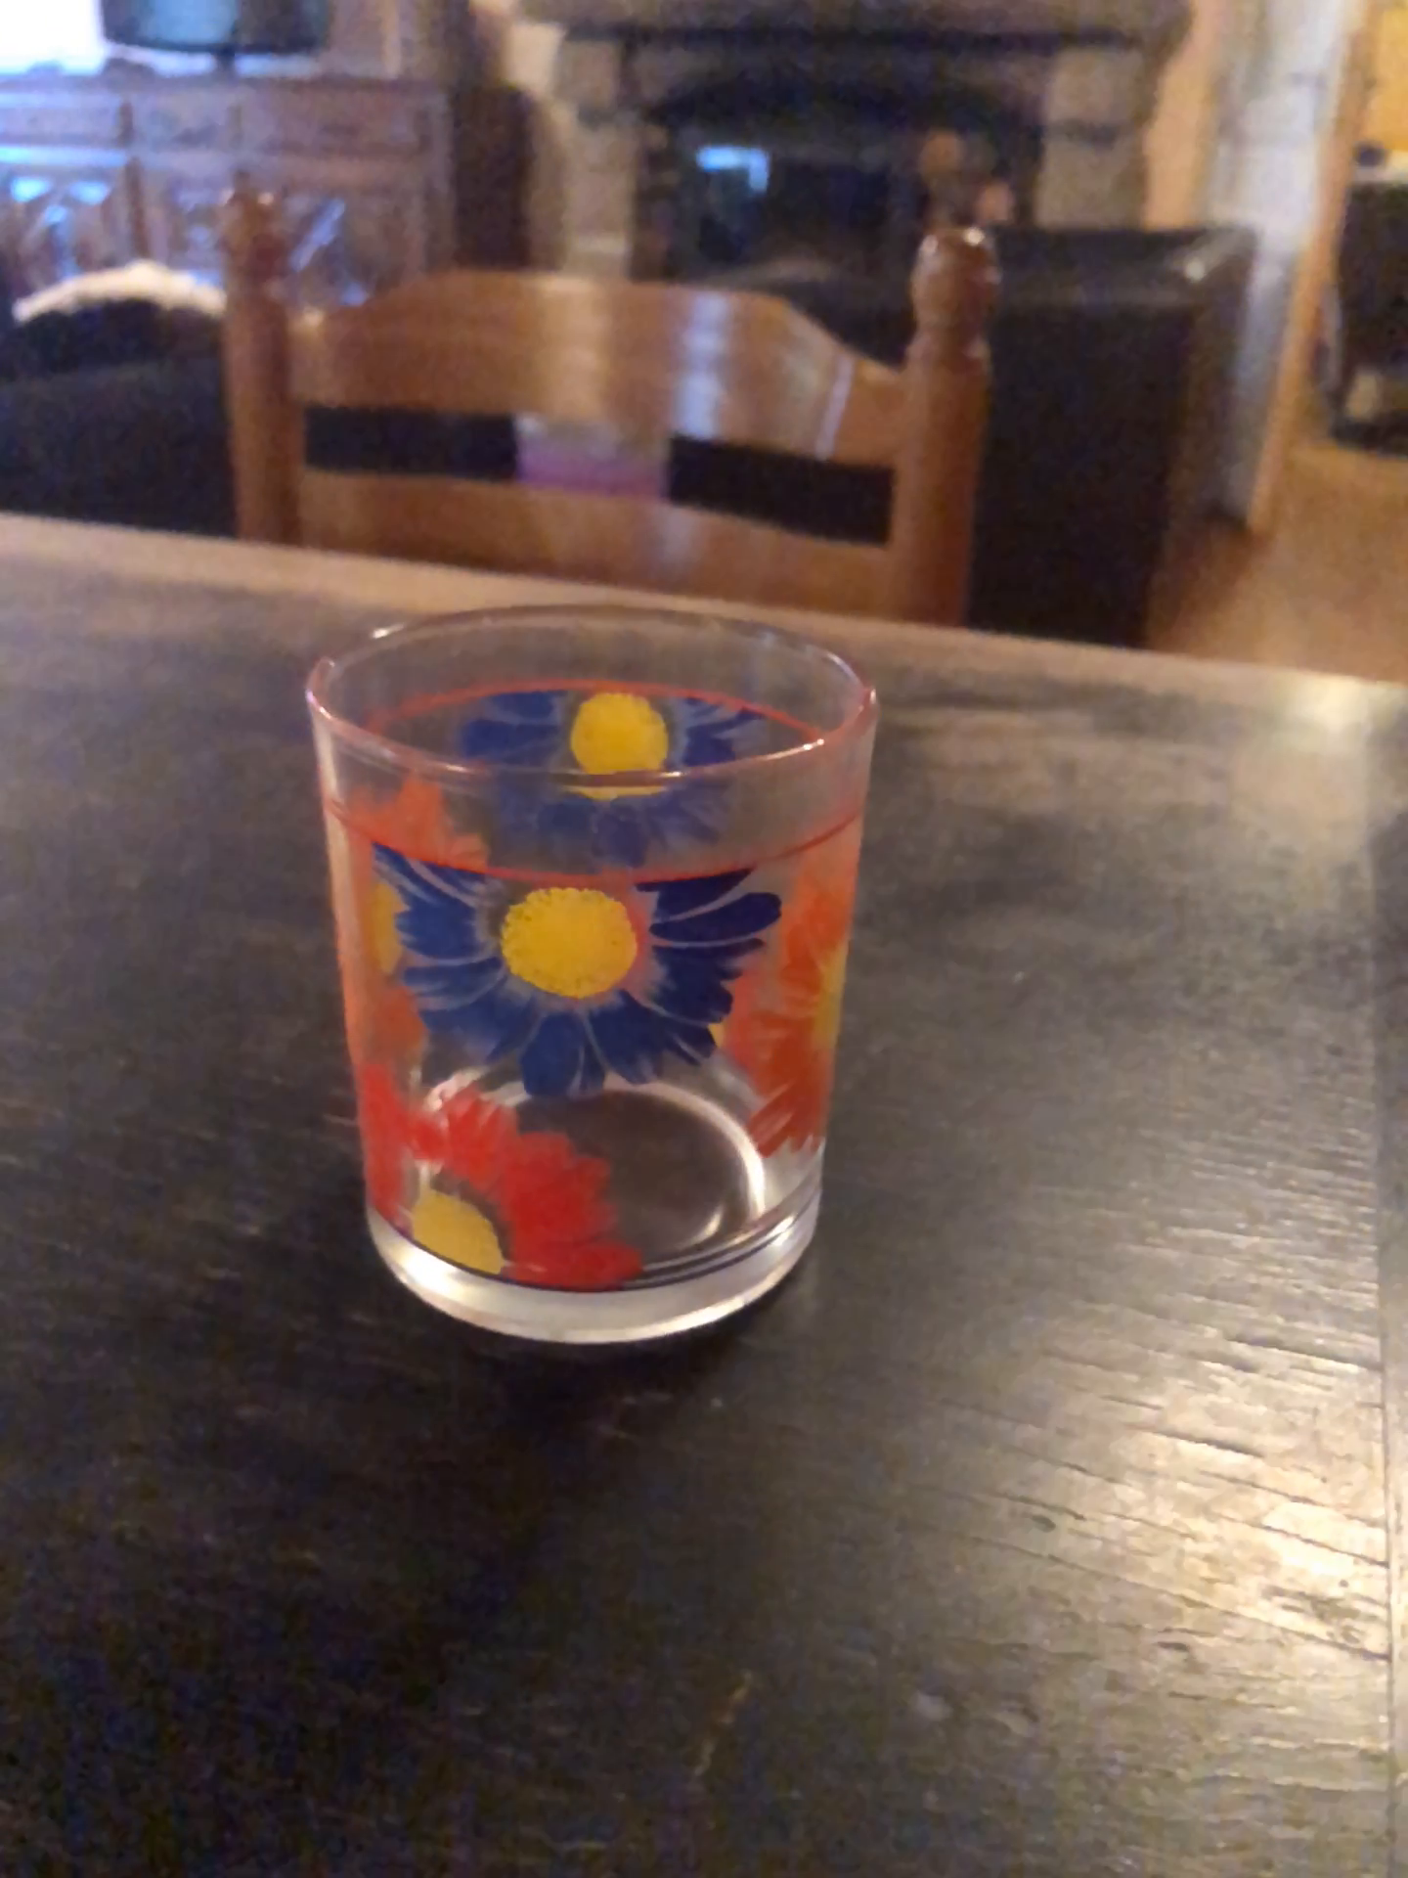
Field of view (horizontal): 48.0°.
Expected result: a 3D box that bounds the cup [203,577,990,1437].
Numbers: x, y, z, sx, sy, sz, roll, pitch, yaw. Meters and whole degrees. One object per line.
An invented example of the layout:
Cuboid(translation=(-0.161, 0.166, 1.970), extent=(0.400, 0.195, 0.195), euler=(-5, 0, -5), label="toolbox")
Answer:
Cuboid(translation=(-0.009, 0.002, 0.218), extent=(0.075, 0.079, 0.079), euler=(2, 26, -1), label="cup")
